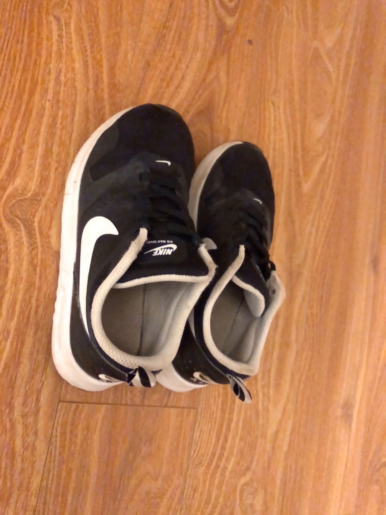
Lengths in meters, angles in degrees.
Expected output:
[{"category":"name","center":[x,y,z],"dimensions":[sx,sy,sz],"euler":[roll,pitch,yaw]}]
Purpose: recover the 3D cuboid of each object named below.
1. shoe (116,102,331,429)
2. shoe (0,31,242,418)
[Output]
[{"category":"shoe","center":[0.030,0.006,0.356],"dimensions":[0.090,0.080,0.230],"euler":[26,74,-32]},{"category":"shoe","center":[-0.048,-0.019,0.305],"dimensions":[0.090,0.080,0.230],"euler":[21,77,-33]}]
